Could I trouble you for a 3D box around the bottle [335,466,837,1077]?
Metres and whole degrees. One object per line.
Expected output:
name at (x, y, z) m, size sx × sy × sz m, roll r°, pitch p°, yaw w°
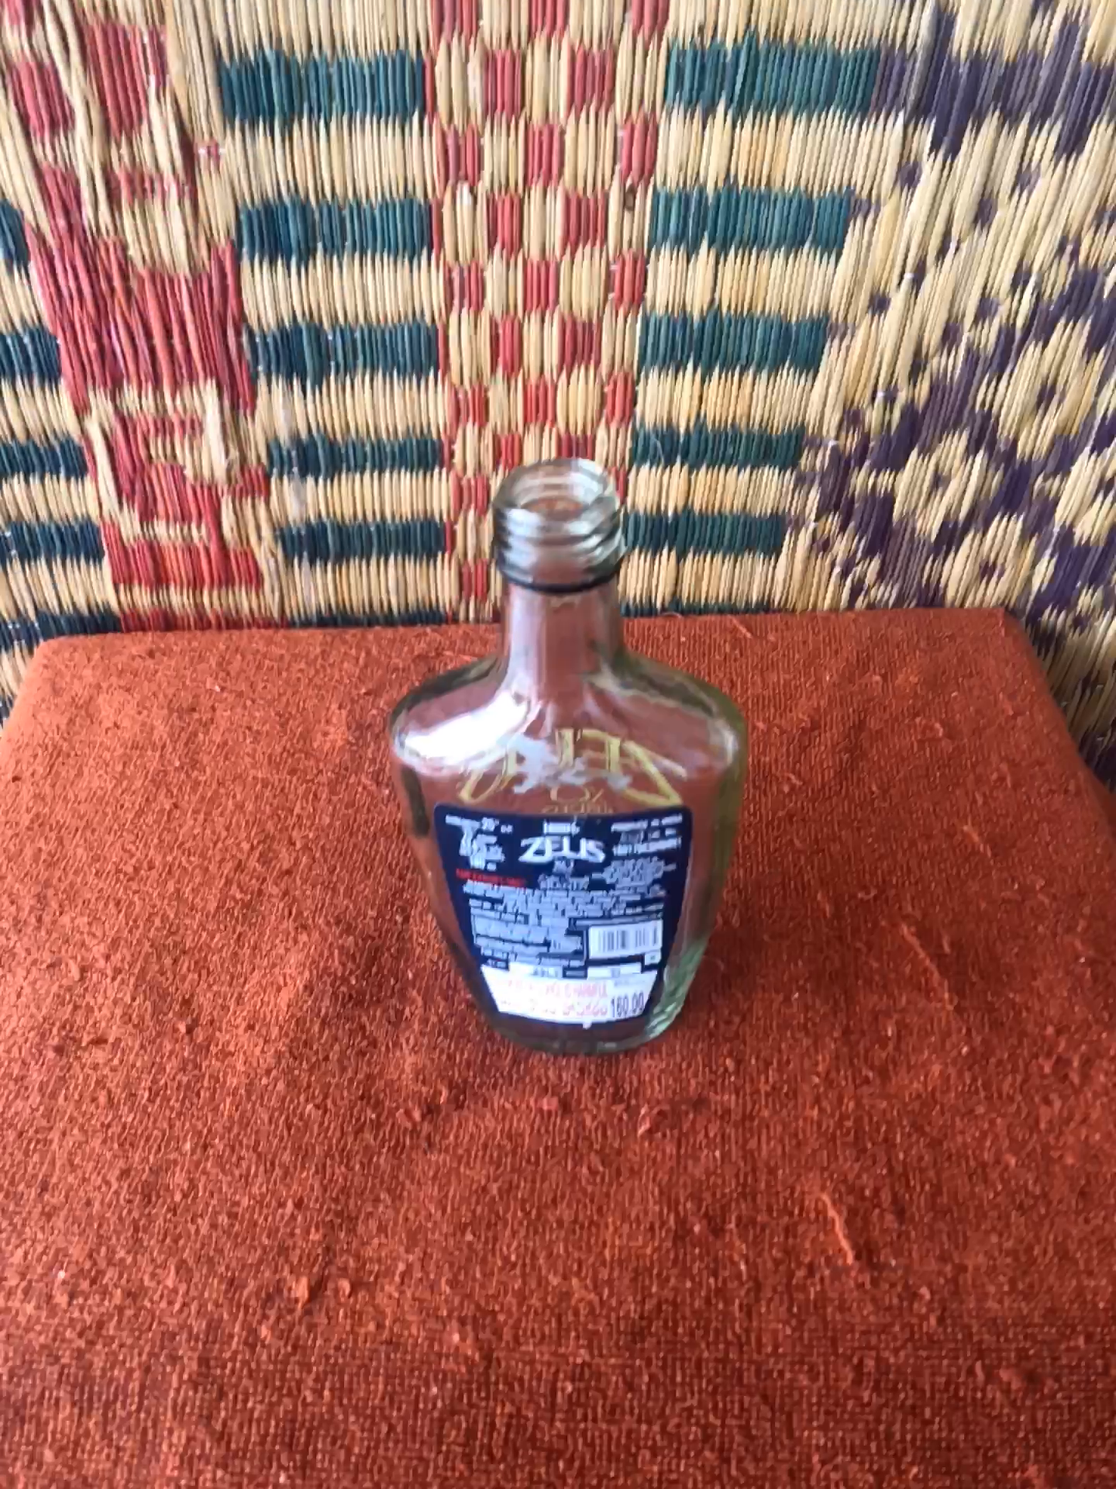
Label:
bottle at (0.006, 0.016, 0.264) m, size 0.080 × 0.149 × 0.040 m, roll 0°, pitch 46°, yaw 1°
